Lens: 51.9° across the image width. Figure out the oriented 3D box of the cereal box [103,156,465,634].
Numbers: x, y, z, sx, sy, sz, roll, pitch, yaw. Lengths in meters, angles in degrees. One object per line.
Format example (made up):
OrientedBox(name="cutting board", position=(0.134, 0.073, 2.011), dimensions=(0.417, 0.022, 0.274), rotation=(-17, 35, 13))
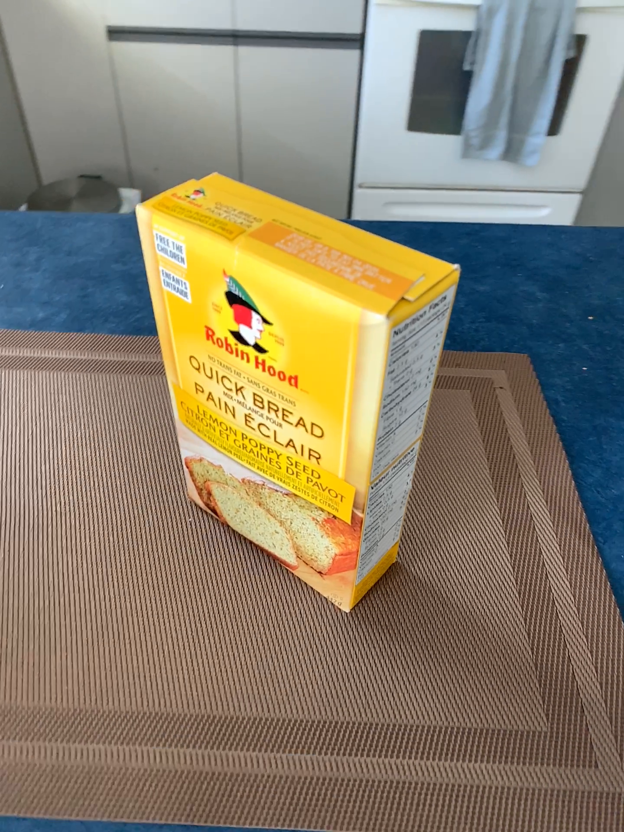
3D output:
OrientedBox(name="cereal box", position=(-0.017, -0.001, 0.282), dimensions=(0.130, 0.178, 0.040), rotation=(30, 51, 26))
